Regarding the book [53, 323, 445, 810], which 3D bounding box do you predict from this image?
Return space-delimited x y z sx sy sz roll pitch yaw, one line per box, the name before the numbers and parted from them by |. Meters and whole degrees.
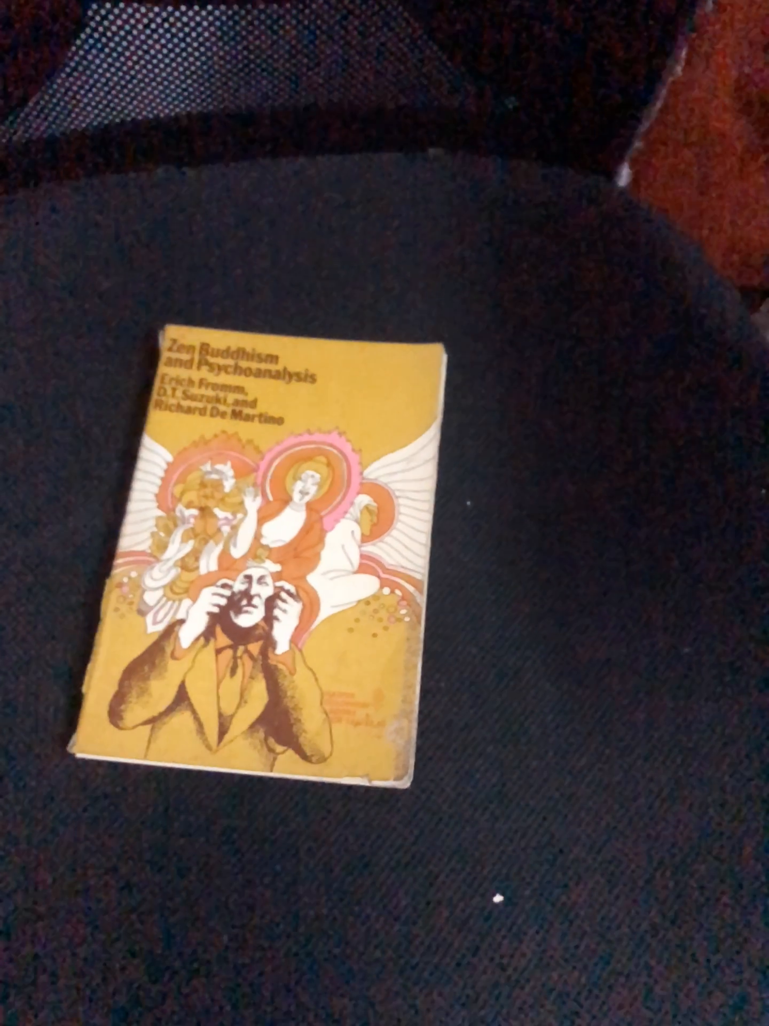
book | -0.047 0.014 0.358 0.136 0.020 0.200 3 68 1
